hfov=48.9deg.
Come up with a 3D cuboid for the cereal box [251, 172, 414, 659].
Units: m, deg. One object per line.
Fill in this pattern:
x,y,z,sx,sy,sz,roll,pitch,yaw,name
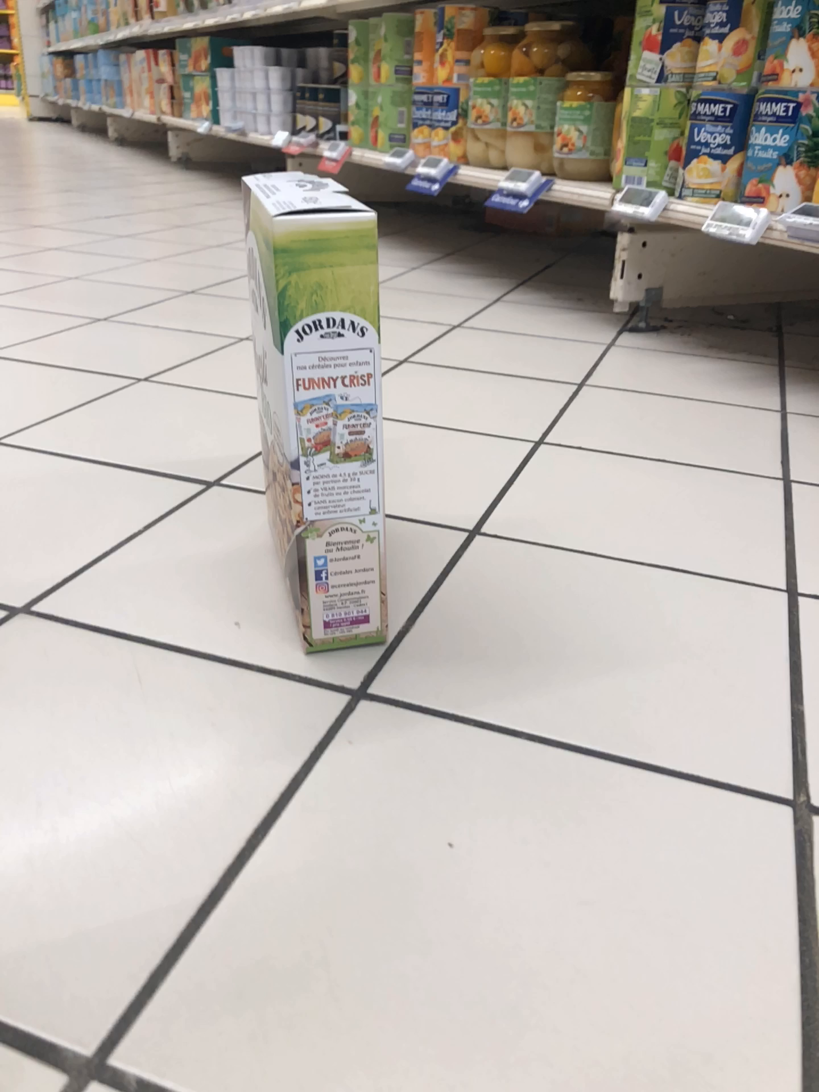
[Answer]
-0.048,-0.082,0.486,0.050,0.209,0.191,-4,26,-13,cereal box
